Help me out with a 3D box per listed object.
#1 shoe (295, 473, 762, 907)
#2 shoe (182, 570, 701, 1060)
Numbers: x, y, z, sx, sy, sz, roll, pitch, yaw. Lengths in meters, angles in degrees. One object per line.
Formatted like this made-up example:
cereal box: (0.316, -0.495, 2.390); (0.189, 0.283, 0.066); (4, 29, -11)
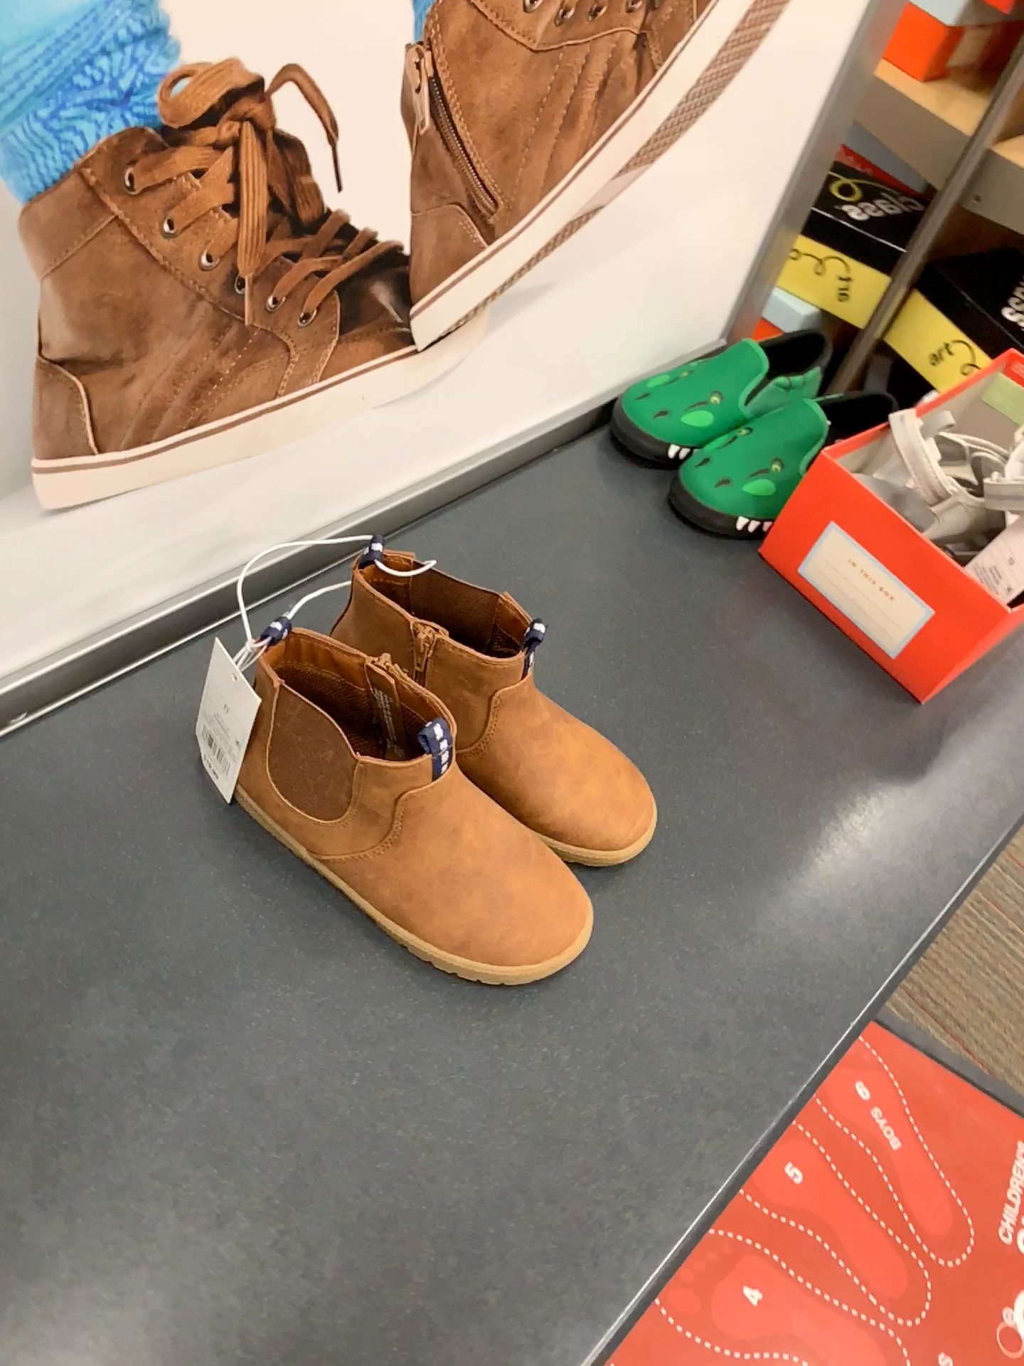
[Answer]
shoe: (0.002, 0.003, 0.507); (0.190, 0.100, 0.087); (31, 51, 9)
shoe: (-0.036, 0.056, 0.451); (0.190, 0.100, 0.087); (31, 51, 9)
